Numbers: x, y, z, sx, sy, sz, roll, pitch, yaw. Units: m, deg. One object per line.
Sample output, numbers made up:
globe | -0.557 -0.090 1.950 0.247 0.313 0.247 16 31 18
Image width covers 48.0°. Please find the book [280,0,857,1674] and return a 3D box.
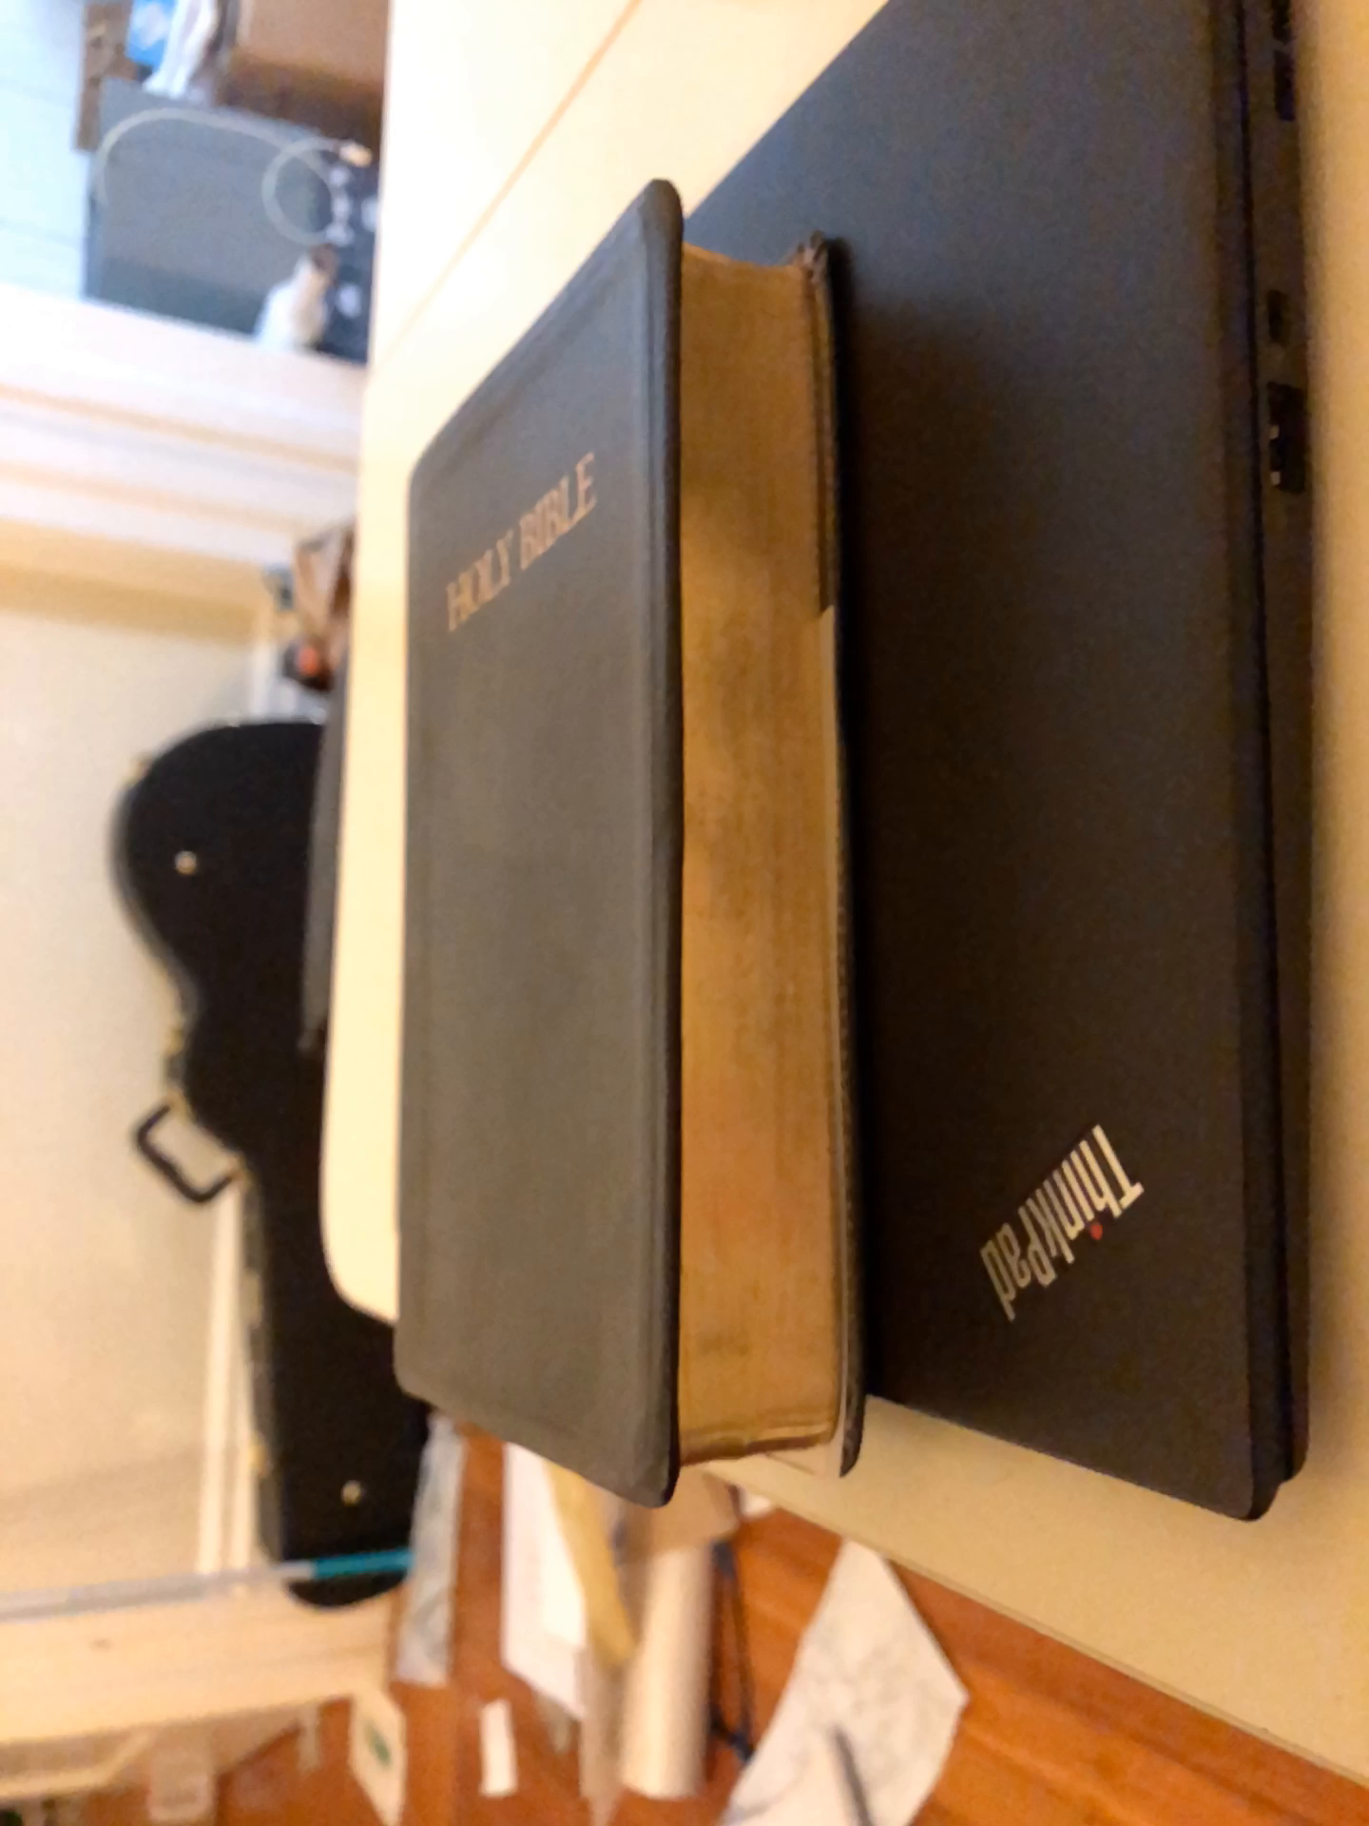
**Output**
book | -0.031 -0.013 0.292 0.171 0.040 0.240 -15 71 62
